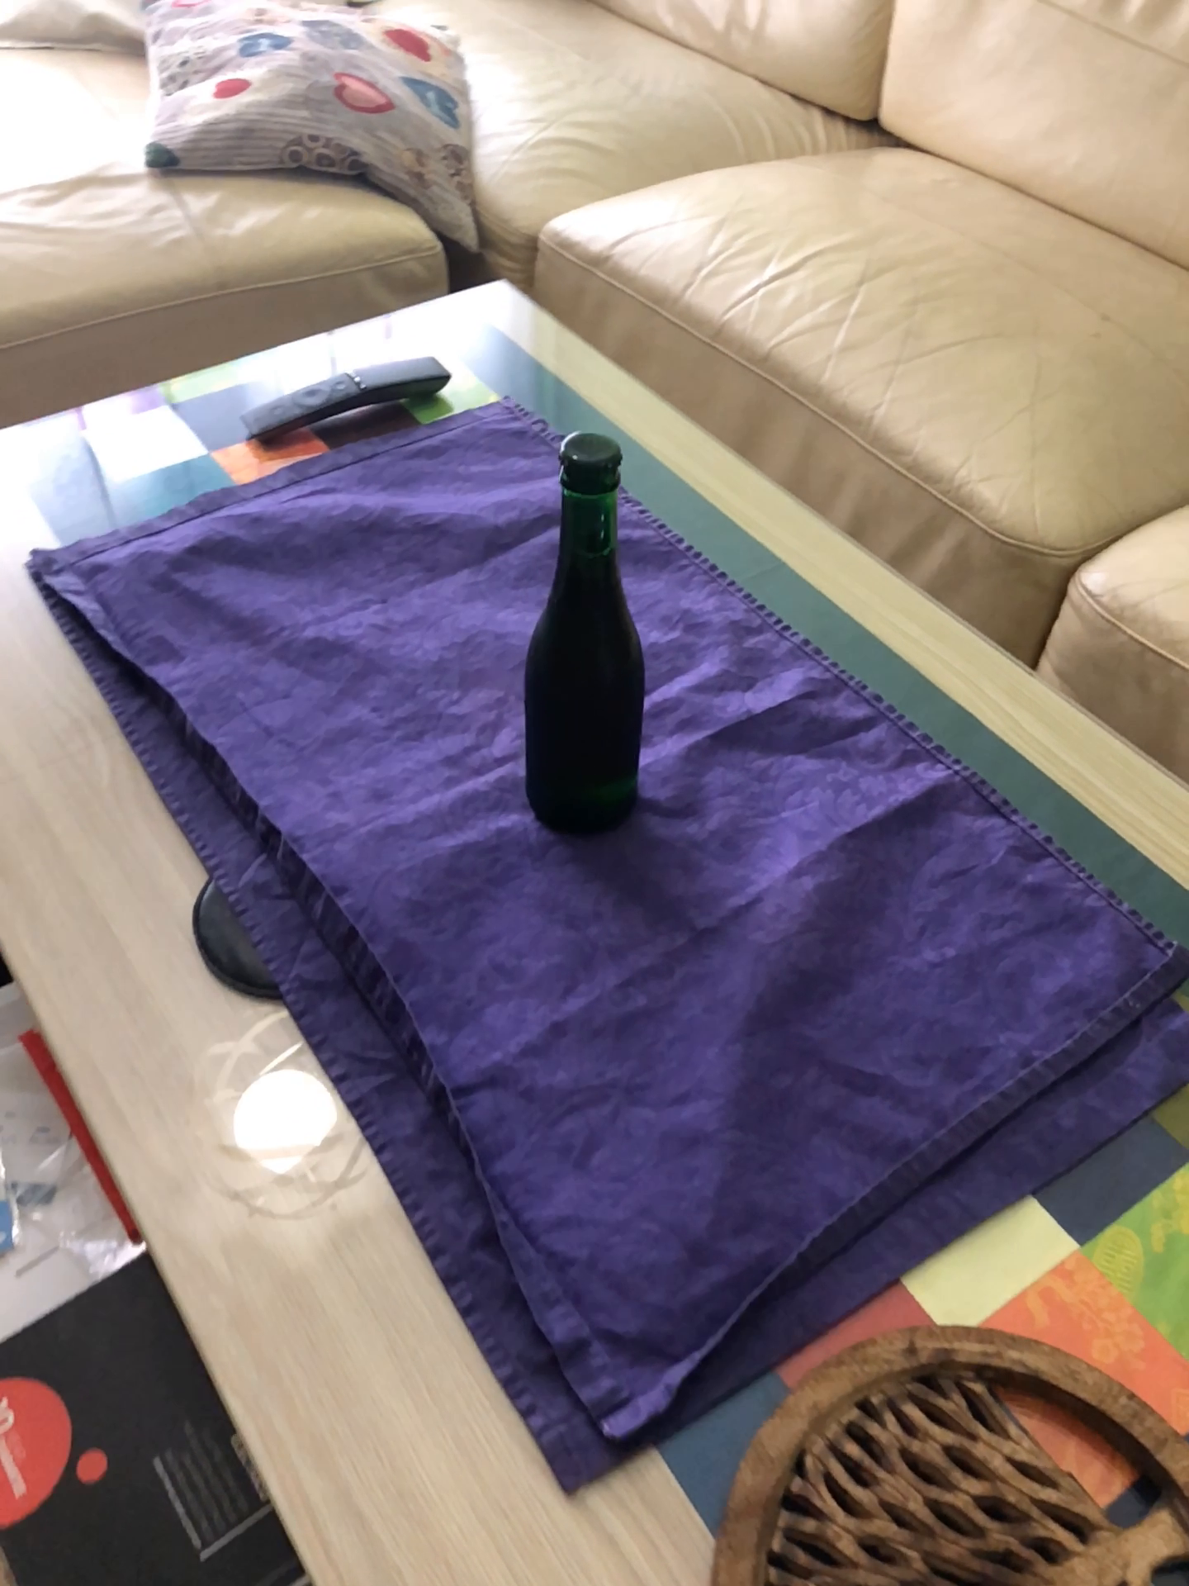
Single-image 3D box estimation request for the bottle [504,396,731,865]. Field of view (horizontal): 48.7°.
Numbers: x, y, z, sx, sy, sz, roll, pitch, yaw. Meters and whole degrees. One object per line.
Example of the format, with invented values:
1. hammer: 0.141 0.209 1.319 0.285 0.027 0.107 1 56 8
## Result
1. bottle: 0.005 -0.069 0.627 0.080 0.219 0.070 -9 48 -10
